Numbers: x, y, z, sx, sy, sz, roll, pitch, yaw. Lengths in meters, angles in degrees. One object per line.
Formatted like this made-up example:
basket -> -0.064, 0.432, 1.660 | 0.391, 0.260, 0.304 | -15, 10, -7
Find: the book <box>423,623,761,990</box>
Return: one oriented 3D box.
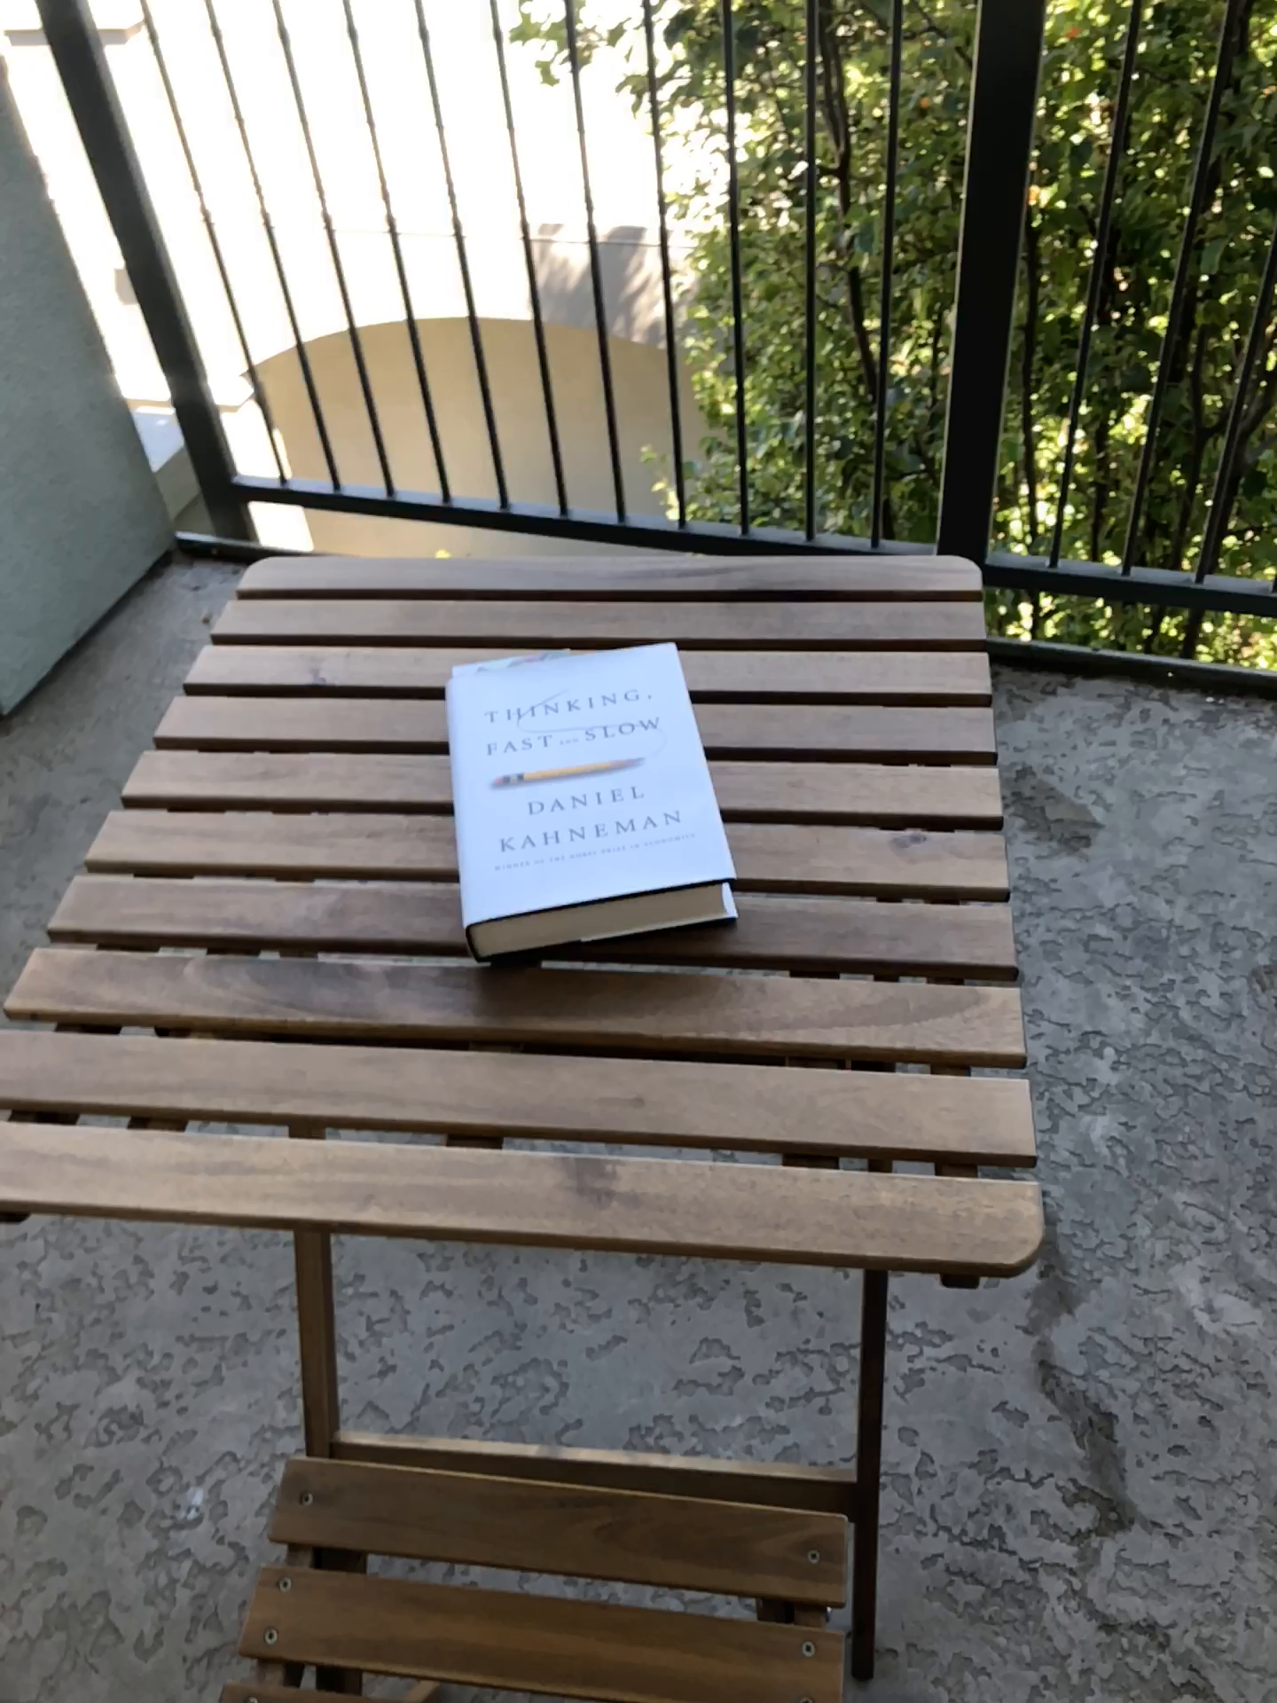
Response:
book -> -0.037, -0.037, 0.902 | 0.180, 0.060, 0.241 | -9, 45, -3
